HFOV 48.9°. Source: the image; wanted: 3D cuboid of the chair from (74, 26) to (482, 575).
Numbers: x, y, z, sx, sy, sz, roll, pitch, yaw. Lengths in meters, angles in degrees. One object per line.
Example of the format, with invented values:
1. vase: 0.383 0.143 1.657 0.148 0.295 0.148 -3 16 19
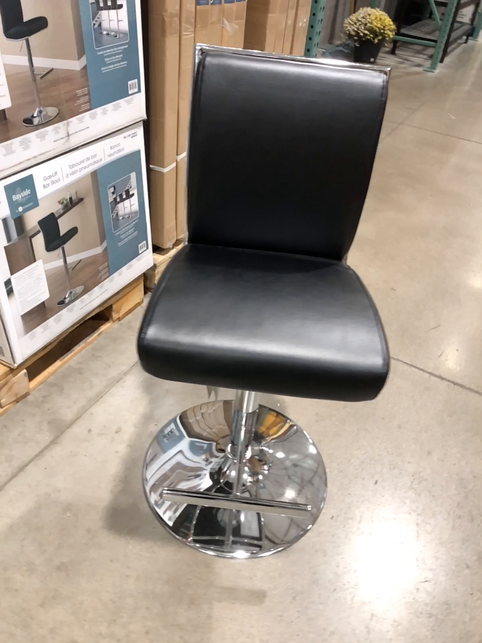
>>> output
1. chair: 0.033 0.002 1.095 0.530 0.946 0.542 5 37 -3
